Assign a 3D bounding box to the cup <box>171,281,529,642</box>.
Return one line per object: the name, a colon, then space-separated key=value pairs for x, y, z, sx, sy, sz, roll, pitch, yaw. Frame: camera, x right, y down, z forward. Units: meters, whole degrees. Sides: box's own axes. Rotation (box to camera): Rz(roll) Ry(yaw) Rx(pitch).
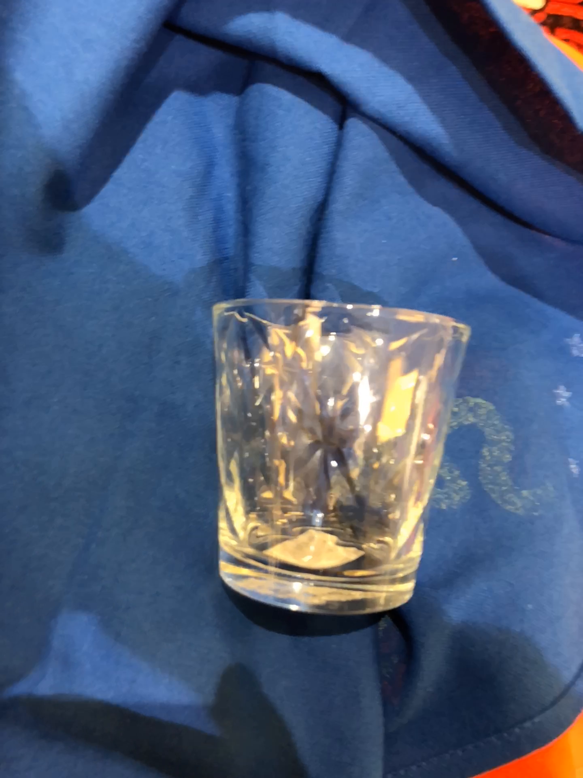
cup: x=0.014 y=0.018 z=0.207 sx=0.080 sy=0.070 sz=0.090 roll=5 pitch=94 yaw=-25
